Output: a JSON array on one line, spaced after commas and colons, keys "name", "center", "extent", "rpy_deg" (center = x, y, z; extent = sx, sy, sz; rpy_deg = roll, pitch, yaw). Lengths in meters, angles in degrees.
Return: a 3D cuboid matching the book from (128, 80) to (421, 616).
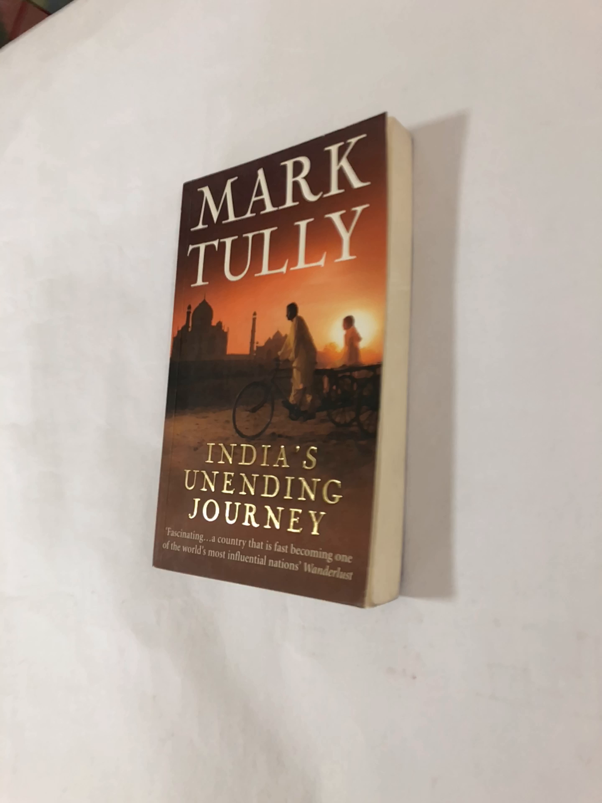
[{"name": "book", "center": [-0.015, -0.022, 0.308], "extent": [0.131, 0.030, 0.210], "rpy_deg": [-2, 81, 36]}]
